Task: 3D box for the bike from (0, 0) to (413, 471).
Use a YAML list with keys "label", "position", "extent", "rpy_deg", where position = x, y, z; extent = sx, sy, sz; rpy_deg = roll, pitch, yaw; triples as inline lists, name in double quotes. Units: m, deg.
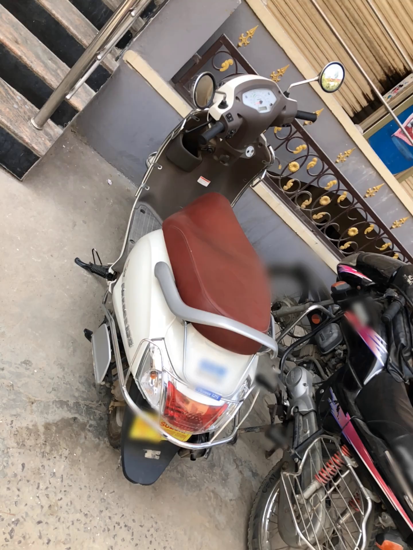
- label: "bike"
  position: [-0.070, -0.284, 1.791]
  extent: [0.597, 1.195, 1.492]
  rpy_deg: [35, 33, -32]
